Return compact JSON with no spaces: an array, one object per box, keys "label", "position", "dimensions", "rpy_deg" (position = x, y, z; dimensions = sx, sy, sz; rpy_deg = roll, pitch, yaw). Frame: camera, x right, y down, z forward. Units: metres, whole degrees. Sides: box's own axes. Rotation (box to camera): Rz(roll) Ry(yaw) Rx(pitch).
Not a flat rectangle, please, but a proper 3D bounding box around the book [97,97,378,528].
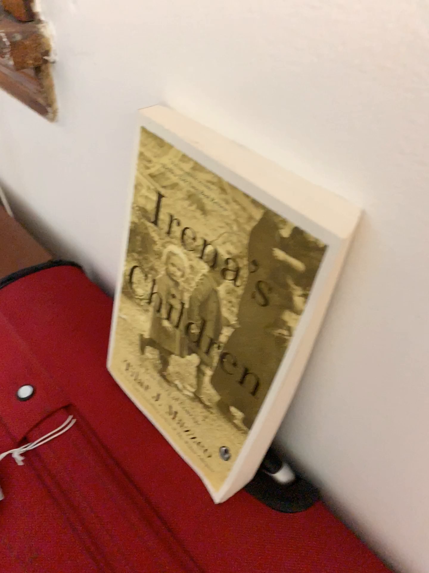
[{"label":"book","position":[-0.017,0.022,0.291],"dimensions":[0.030,0.228,0.171],"rpy_deg":[-21,47,-38]}]
